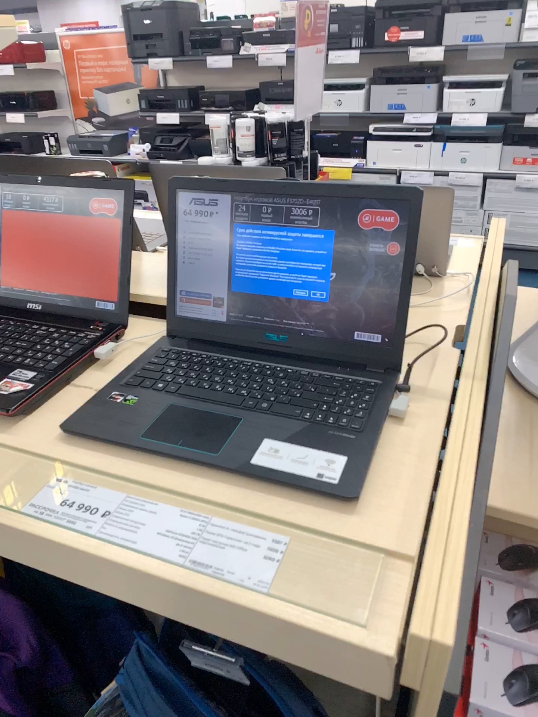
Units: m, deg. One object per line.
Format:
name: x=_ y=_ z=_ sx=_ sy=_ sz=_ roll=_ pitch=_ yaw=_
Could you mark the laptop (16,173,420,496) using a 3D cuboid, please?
laptop: x=-0.029 y=-0.069 z=0.670 sx=0.358 sy=0.222 sz=0.319 roll=9 pitch=32 yaw=20
